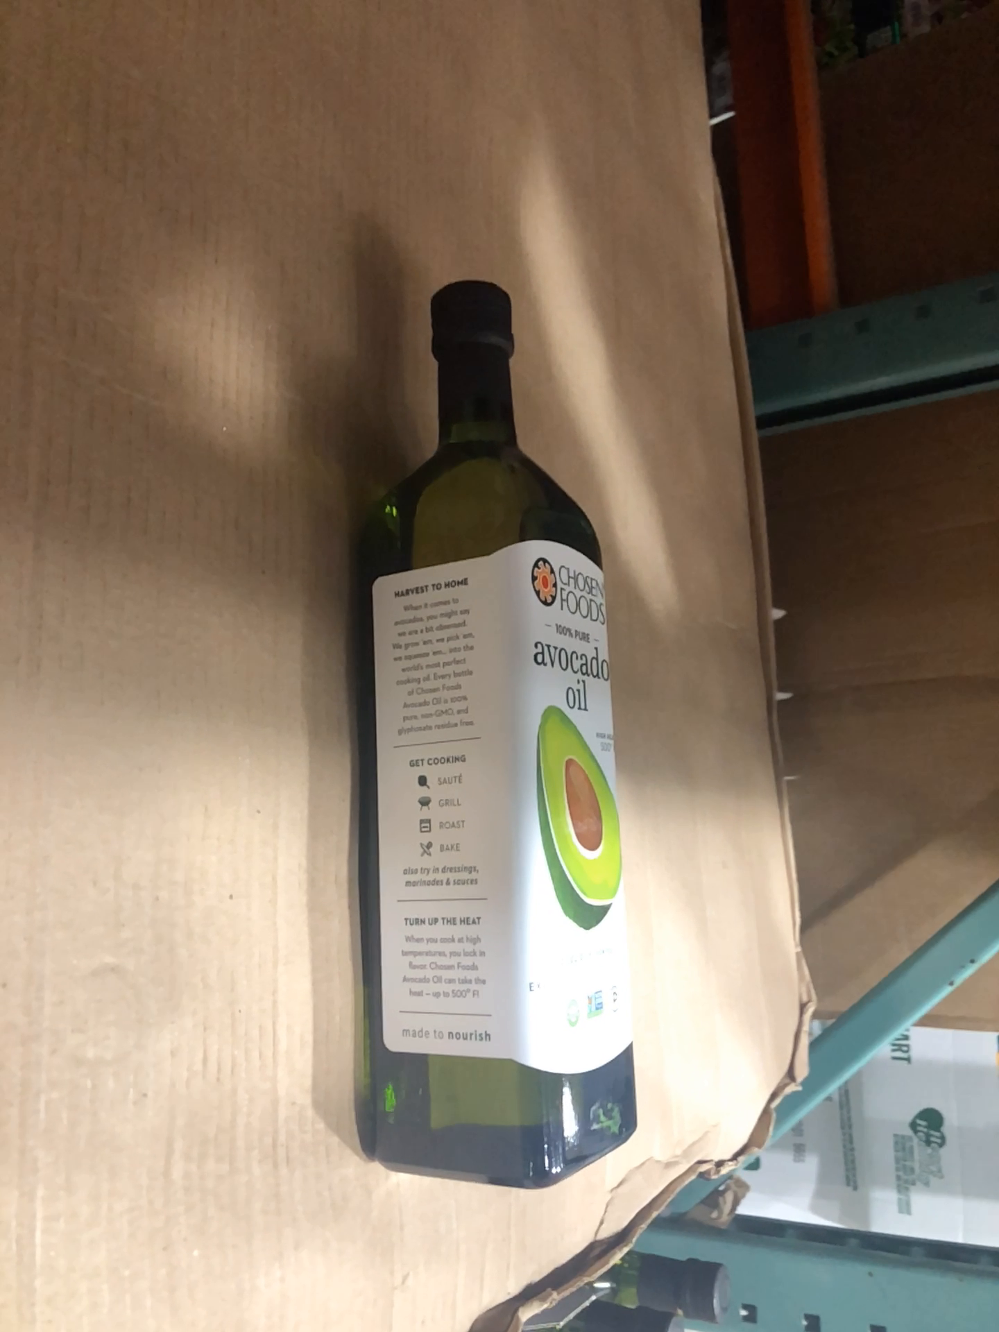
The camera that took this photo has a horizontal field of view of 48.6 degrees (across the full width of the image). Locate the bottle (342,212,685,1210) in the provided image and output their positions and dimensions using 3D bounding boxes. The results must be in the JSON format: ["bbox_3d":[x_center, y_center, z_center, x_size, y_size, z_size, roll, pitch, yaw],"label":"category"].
[{"bbox_3d":[0.004,0.012,0.406,0.087,0.074,0.320,14,70,-60],"label":"bottle"}]
